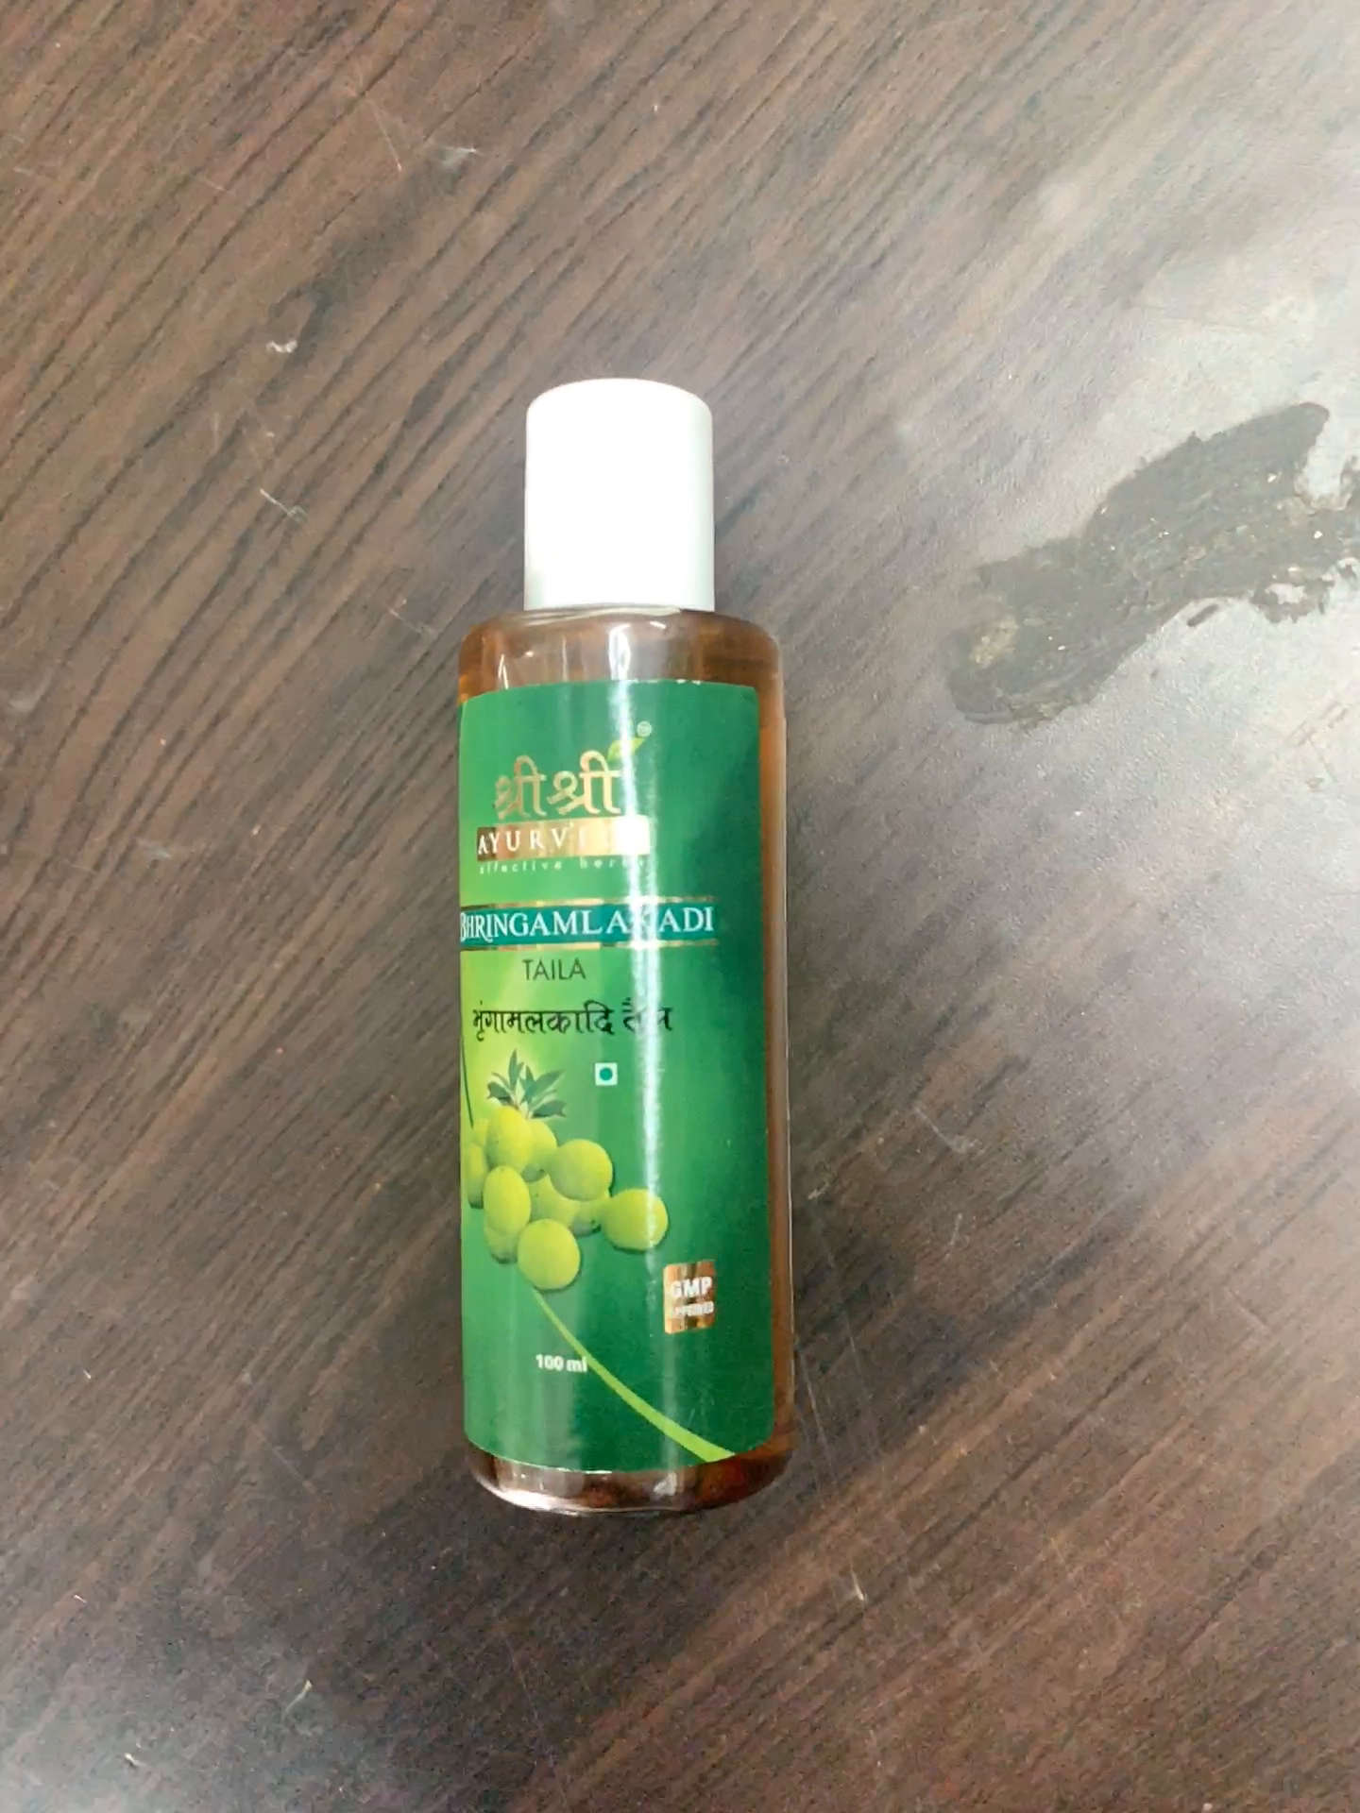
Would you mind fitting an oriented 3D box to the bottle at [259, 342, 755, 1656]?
[{"bbox_3d":[-0.017,0.008,0.155,0.040,0.040,0.120,-1,88,18],"label":"bottle"}]
